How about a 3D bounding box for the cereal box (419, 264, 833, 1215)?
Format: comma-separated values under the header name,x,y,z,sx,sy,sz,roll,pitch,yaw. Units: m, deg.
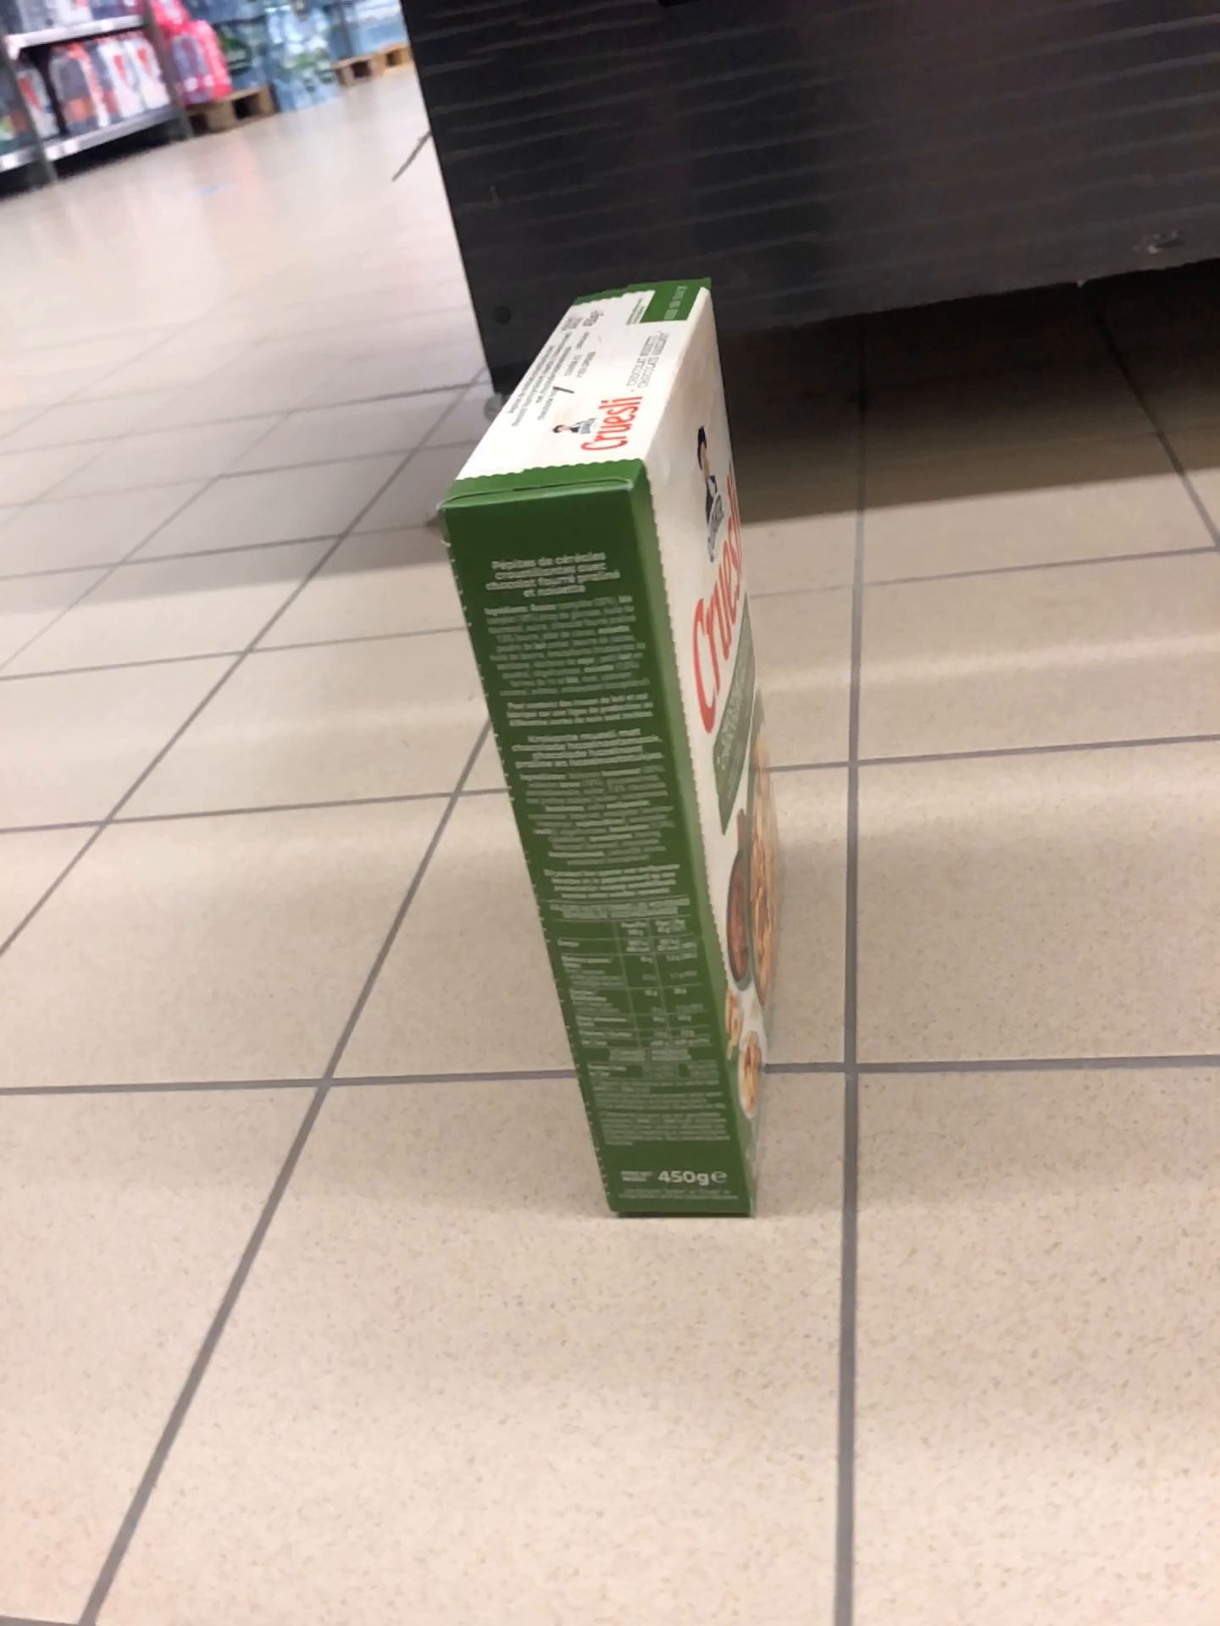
name,x,y,z,sx,sy,sz,roll,pitch,yaw
cereal box,0.026,-0.027,0.436,0.060,0.239,0.191,-4,33,15
